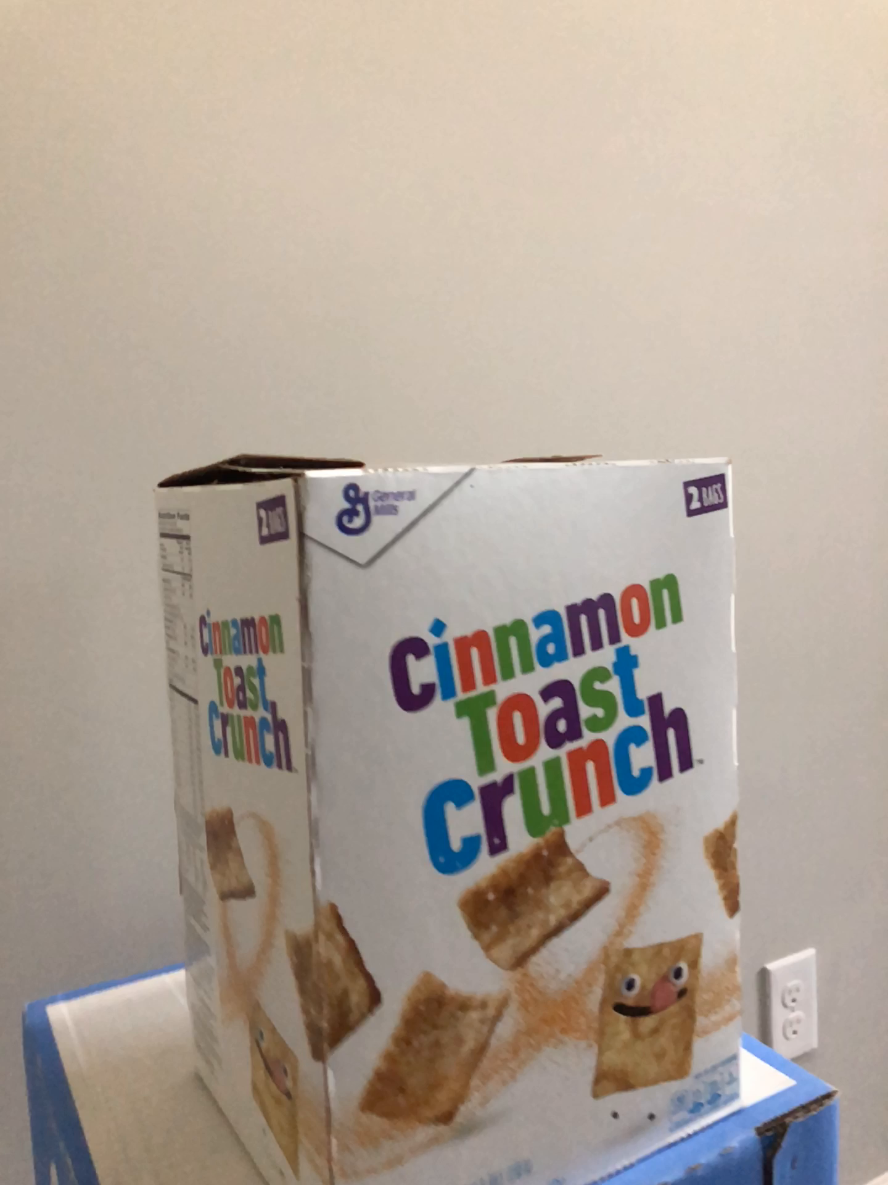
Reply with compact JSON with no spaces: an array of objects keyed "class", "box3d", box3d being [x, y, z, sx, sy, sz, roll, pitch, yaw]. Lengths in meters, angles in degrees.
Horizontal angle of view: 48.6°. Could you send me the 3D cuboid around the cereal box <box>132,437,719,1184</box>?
[{"class":"cereal box","box3d":[-0.011,0.091,0.458,0.200,0.310,0.170,-6,6,-31]}]
